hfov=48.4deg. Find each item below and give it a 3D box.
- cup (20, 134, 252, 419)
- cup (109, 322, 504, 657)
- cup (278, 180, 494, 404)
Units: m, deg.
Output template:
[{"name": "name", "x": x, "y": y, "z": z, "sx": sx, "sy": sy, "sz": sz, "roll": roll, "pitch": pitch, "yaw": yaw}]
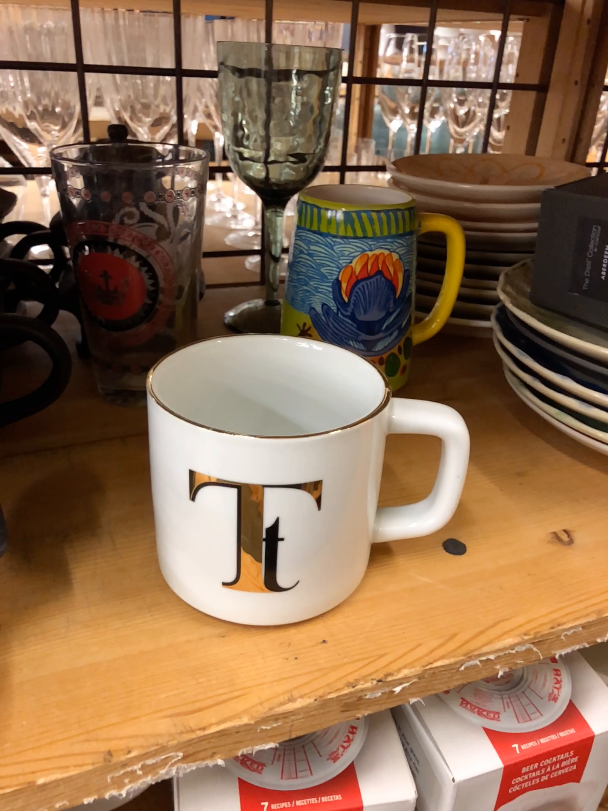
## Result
[{"name": "cup", "x": -0.089, "y": -0.077, "z": 0.390, "sx": 0.093, "sy": 0.134, "sz": 0.079, "roll": 11, "pitch": 29, "yaw": 15}, {"name": "cup", "x": 0.002, "y": 0.027, "z": 0.267, "sx": 0.123, "sy": 0.084, "sz": 0.089, "roll": 5, "pitch": 28, "yaw": 4}, {"name": "cup", "x": 0.039, "y": -0.068, "z": 0.388, "sx": 0.092, "sy": 0.104, "sz": 0.079, "roll": -4, "pitch": 28, "yaw": -13}]
